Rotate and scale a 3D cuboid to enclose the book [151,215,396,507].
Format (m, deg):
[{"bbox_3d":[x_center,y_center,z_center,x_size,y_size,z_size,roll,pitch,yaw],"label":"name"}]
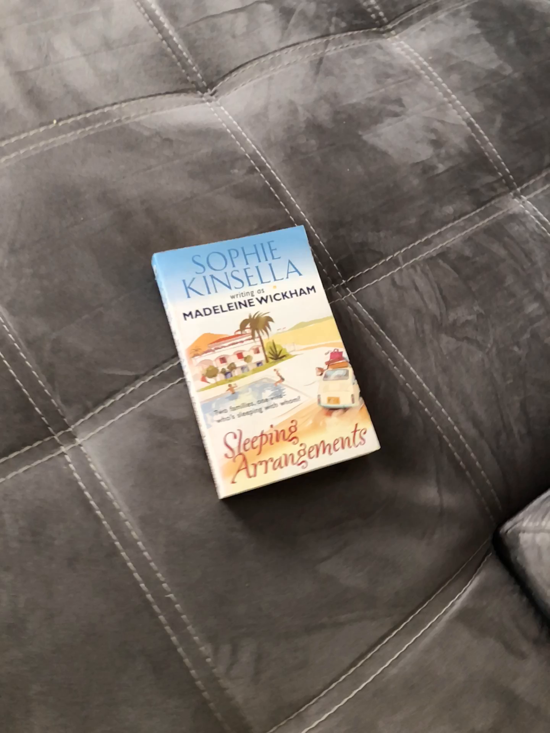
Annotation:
[{"bbox_3d":[-0.004,-0.011,0.463,0.130,0.030,0.200,-14,76,-18],"label":"book"}]
